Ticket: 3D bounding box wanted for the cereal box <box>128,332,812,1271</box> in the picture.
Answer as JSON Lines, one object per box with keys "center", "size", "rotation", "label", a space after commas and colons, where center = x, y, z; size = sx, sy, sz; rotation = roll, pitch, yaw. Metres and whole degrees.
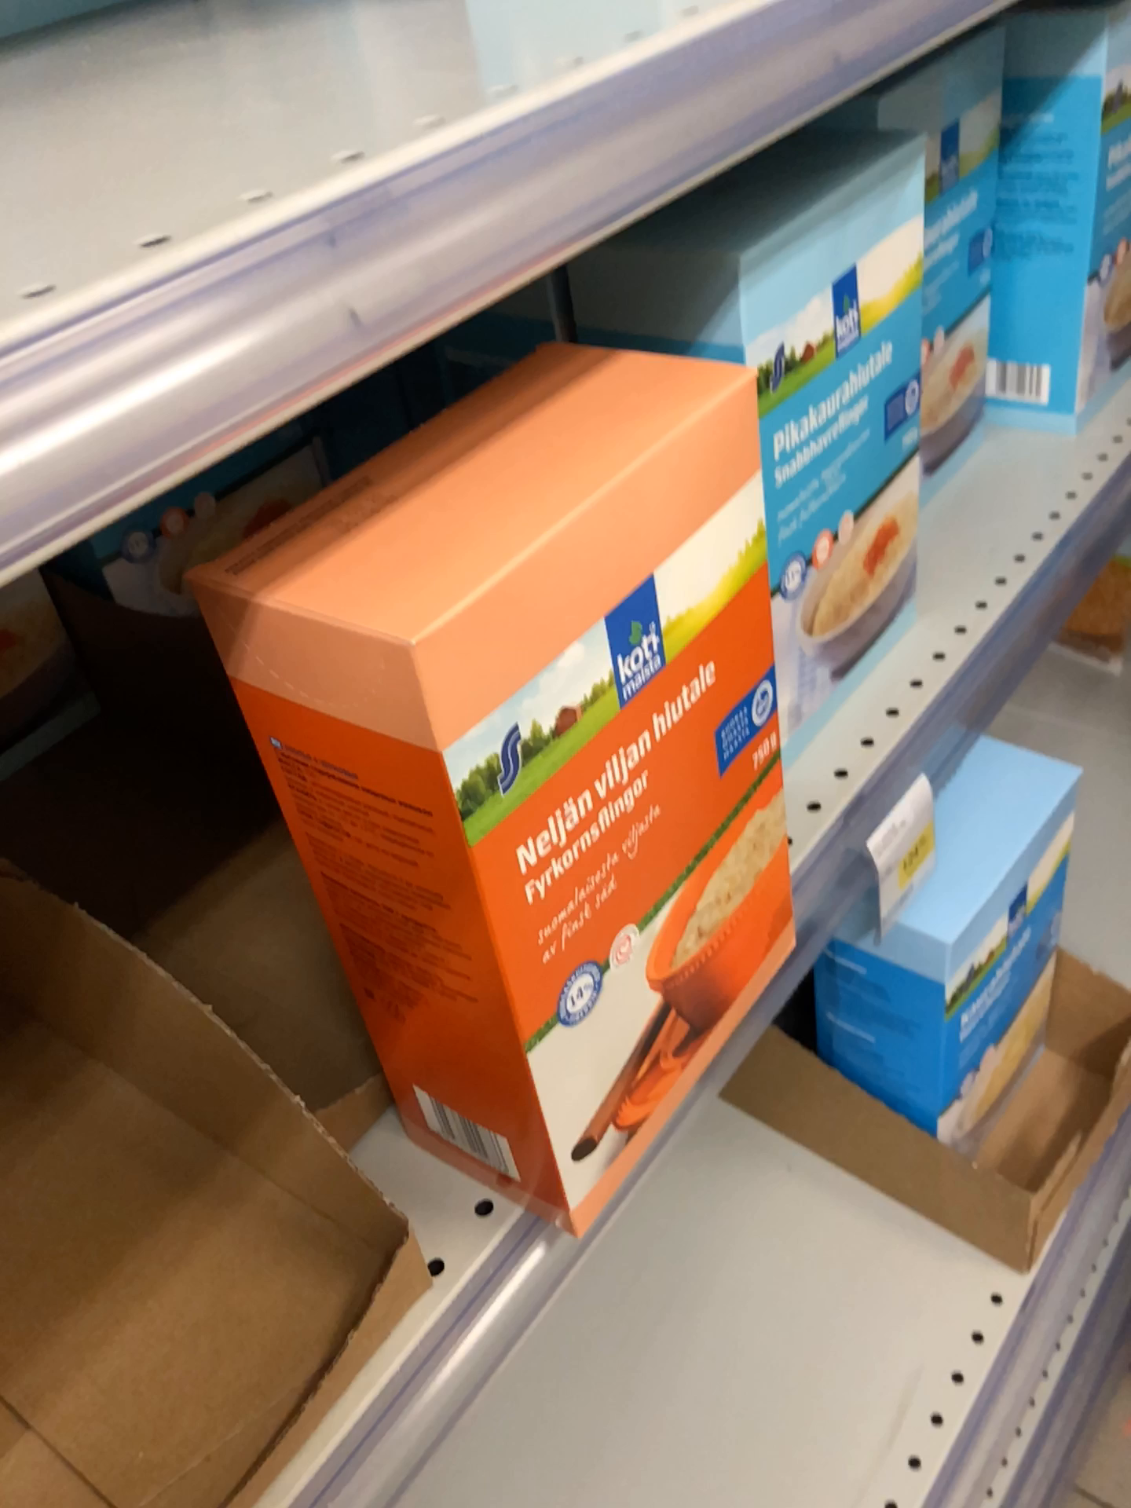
{"center": [-0.005, 0.016, 0.380], "size": [0.080, 0.229, 0.151], "rotation": [18, 47, 35], "label": "cereal box"}
